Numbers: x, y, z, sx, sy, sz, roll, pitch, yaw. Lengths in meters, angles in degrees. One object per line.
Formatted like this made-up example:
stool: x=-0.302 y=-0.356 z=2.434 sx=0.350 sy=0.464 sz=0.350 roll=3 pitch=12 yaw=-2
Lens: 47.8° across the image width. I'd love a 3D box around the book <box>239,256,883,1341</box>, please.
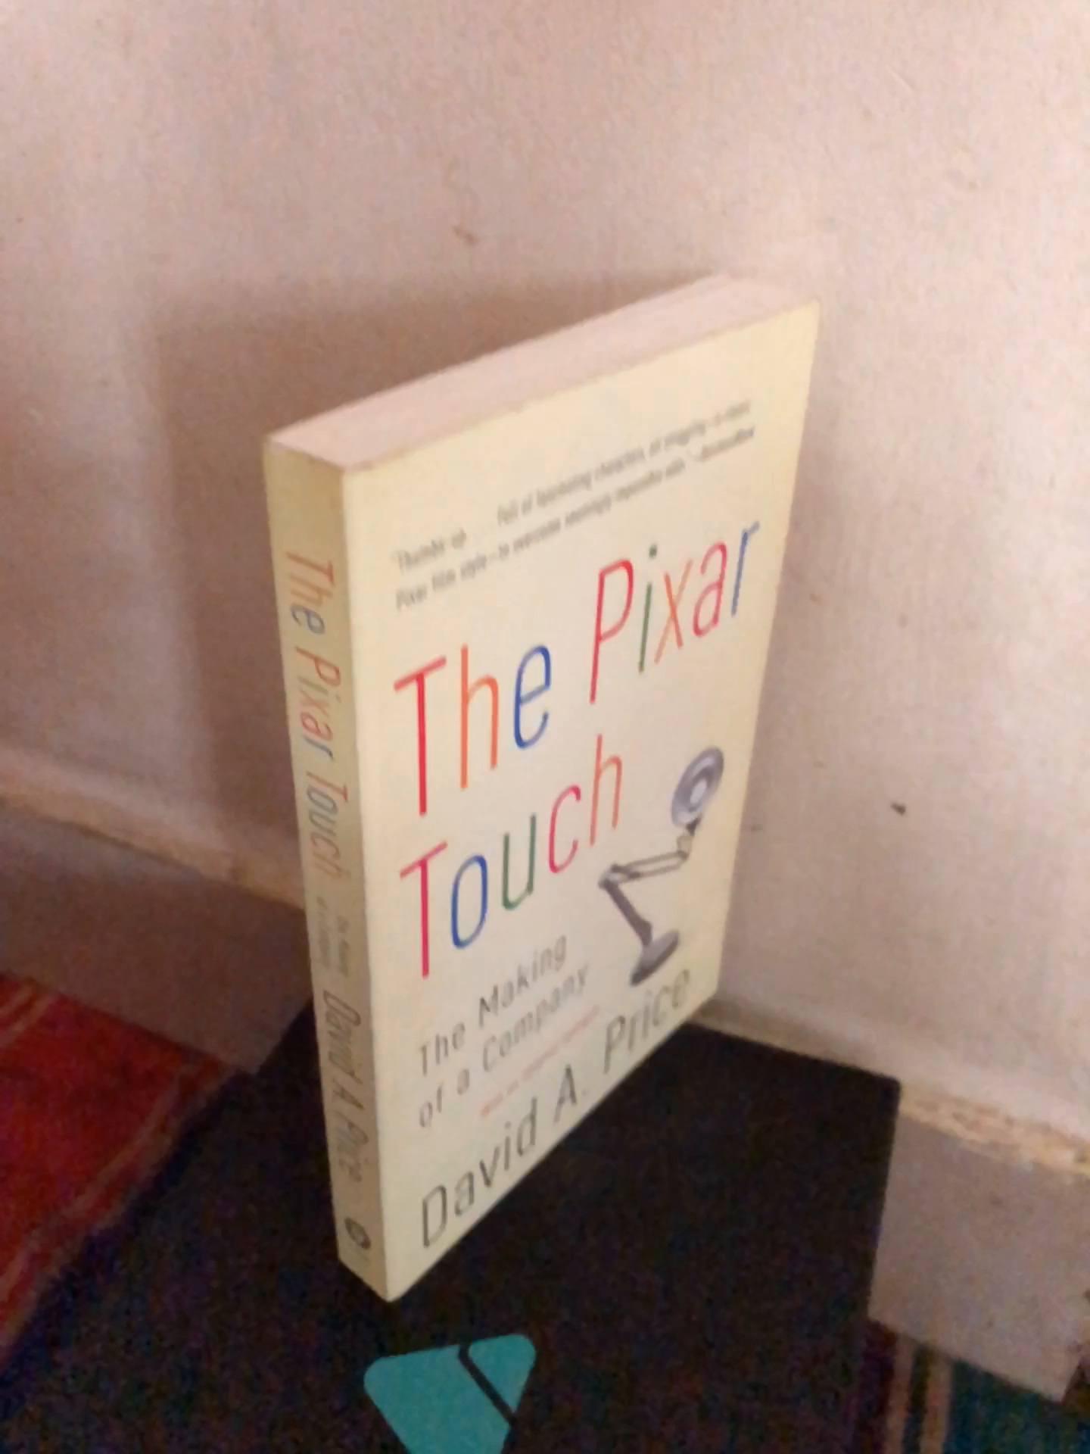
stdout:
book: x=0.008 y=0.015 z=0.265 sx=0.030 sy=0.199 sz=0.140 roll=26 pitch=39 yaw=31
